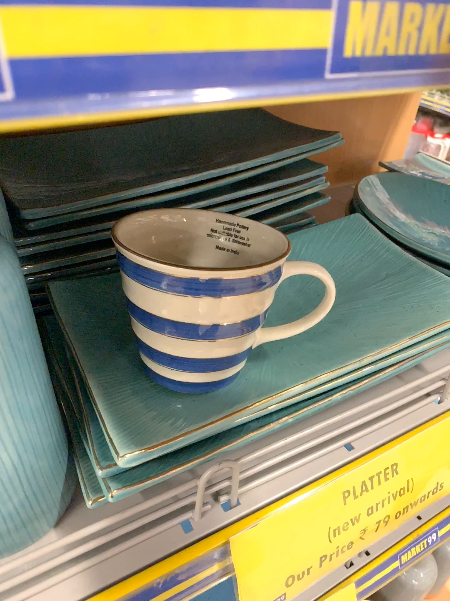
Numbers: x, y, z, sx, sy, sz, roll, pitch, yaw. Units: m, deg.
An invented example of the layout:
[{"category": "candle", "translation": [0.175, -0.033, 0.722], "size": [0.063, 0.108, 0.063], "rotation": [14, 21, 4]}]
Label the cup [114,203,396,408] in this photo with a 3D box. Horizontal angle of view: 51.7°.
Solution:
[{"category": "cup", "translation": [0.006, -0.005, 0.287], "size": [0.140, 0.080, 0.100], "rotation": [-2, 29, -15]}]
